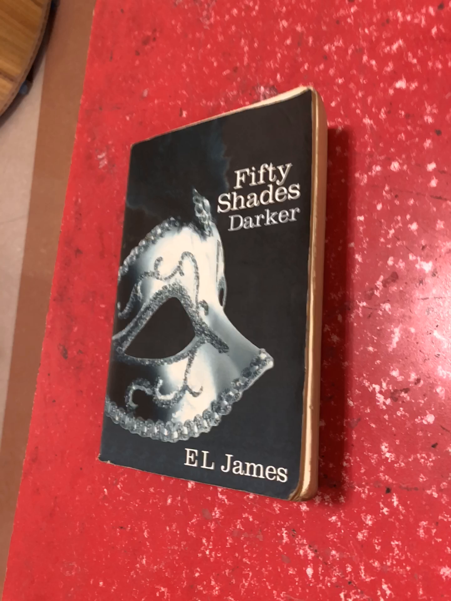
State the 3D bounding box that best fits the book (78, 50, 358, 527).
[{"bbox_3d":[-0.005,-0.005,0.278,0.141,0.050,0.210,-4,77,36],"label":"book"}]
